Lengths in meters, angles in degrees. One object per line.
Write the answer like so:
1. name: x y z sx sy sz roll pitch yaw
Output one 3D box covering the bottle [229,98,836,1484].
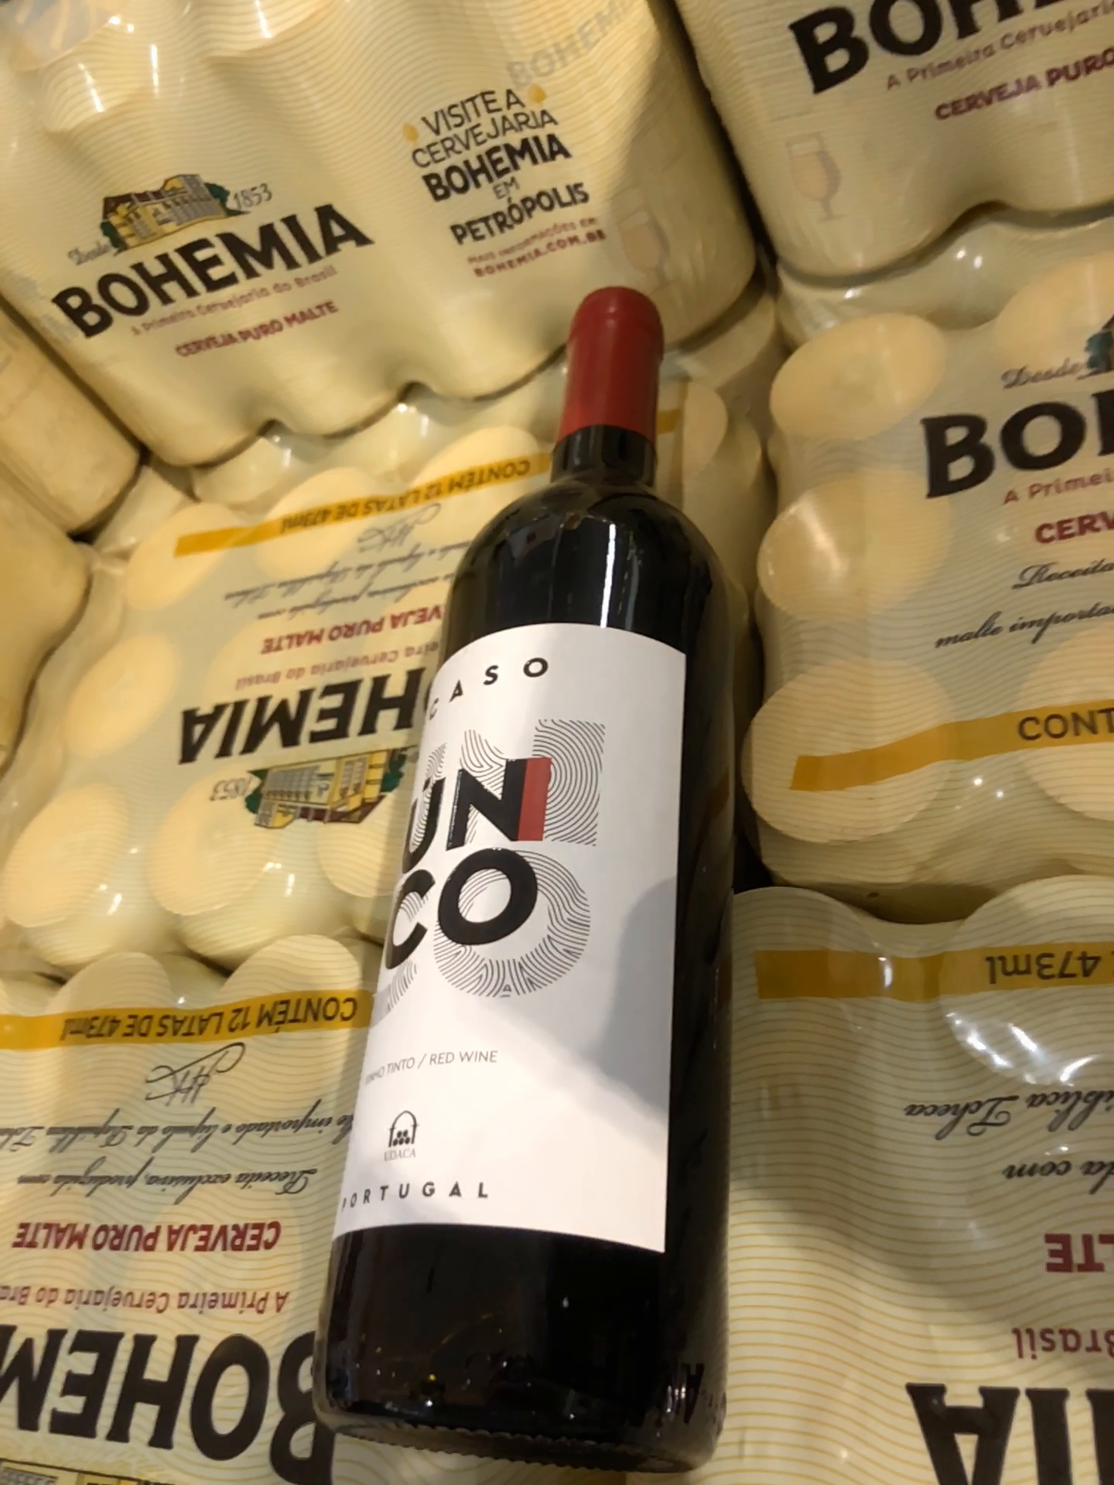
1. bottle: 0.011 -0.015 0.298 0.080 0.070 0.331 -11 54 24
